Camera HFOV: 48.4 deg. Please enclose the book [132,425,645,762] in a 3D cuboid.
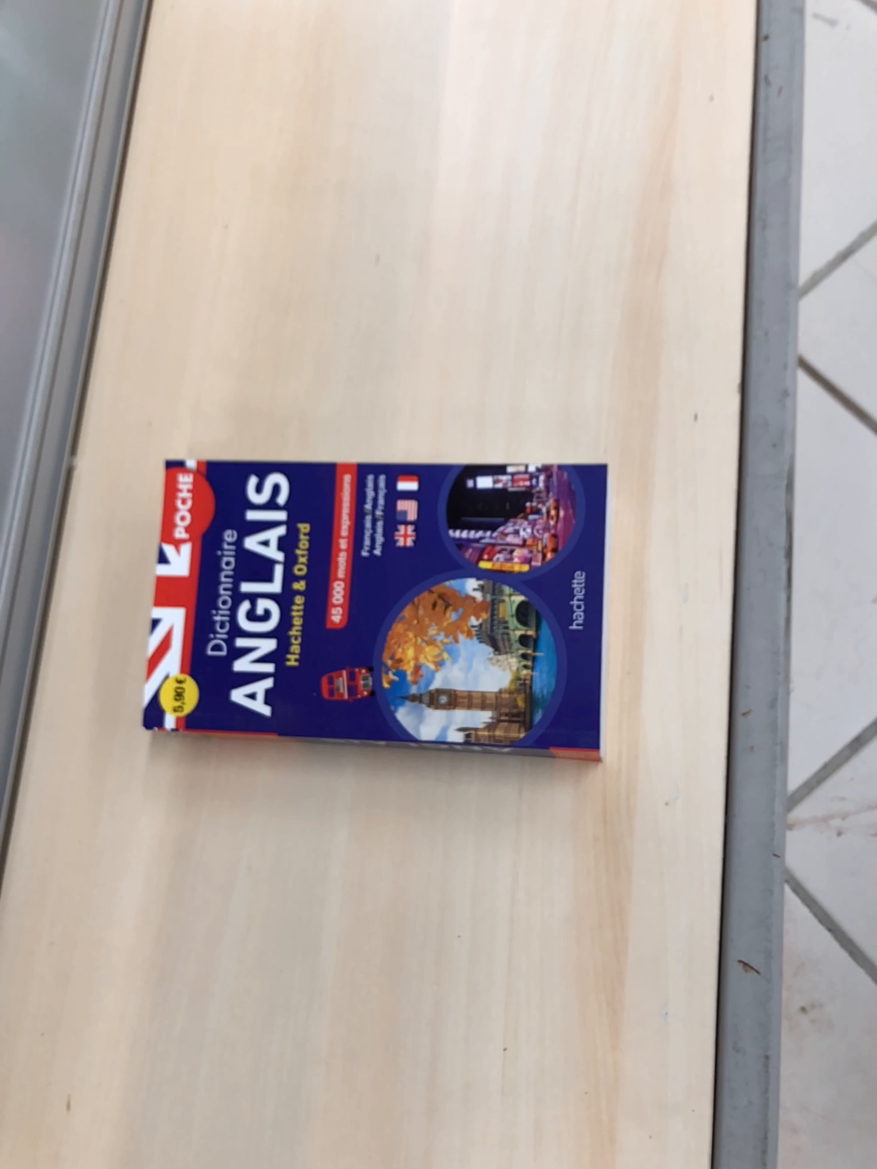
[{"bbox_3d":[-0.016,0.004,0.379,0.187,0.040,0.119,0,75,11],"label":"book"}]
